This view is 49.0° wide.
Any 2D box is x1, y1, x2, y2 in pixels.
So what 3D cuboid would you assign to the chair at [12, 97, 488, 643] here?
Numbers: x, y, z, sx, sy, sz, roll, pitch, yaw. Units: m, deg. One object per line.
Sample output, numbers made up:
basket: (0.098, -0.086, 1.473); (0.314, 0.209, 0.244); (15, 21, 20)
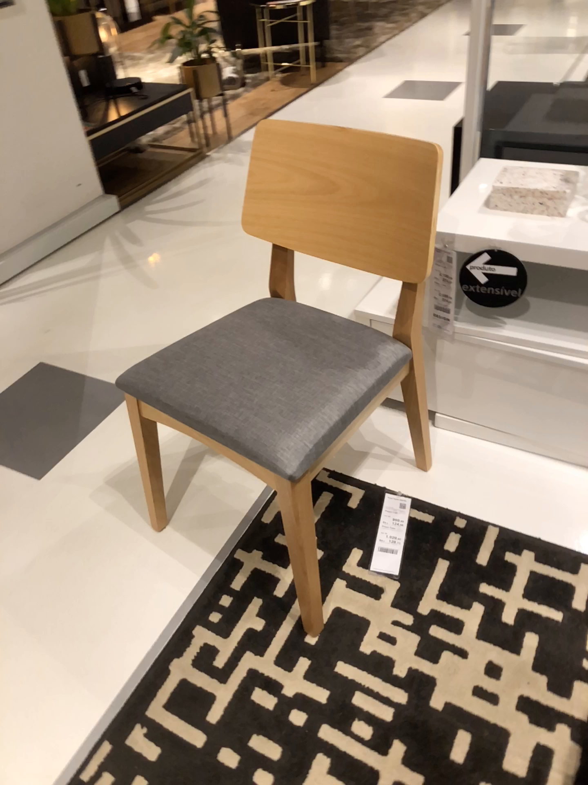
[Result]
chair: (-0.029, -0.070, 1.311); (0.542, 0.794, 0.582); (23, 48, 31)
